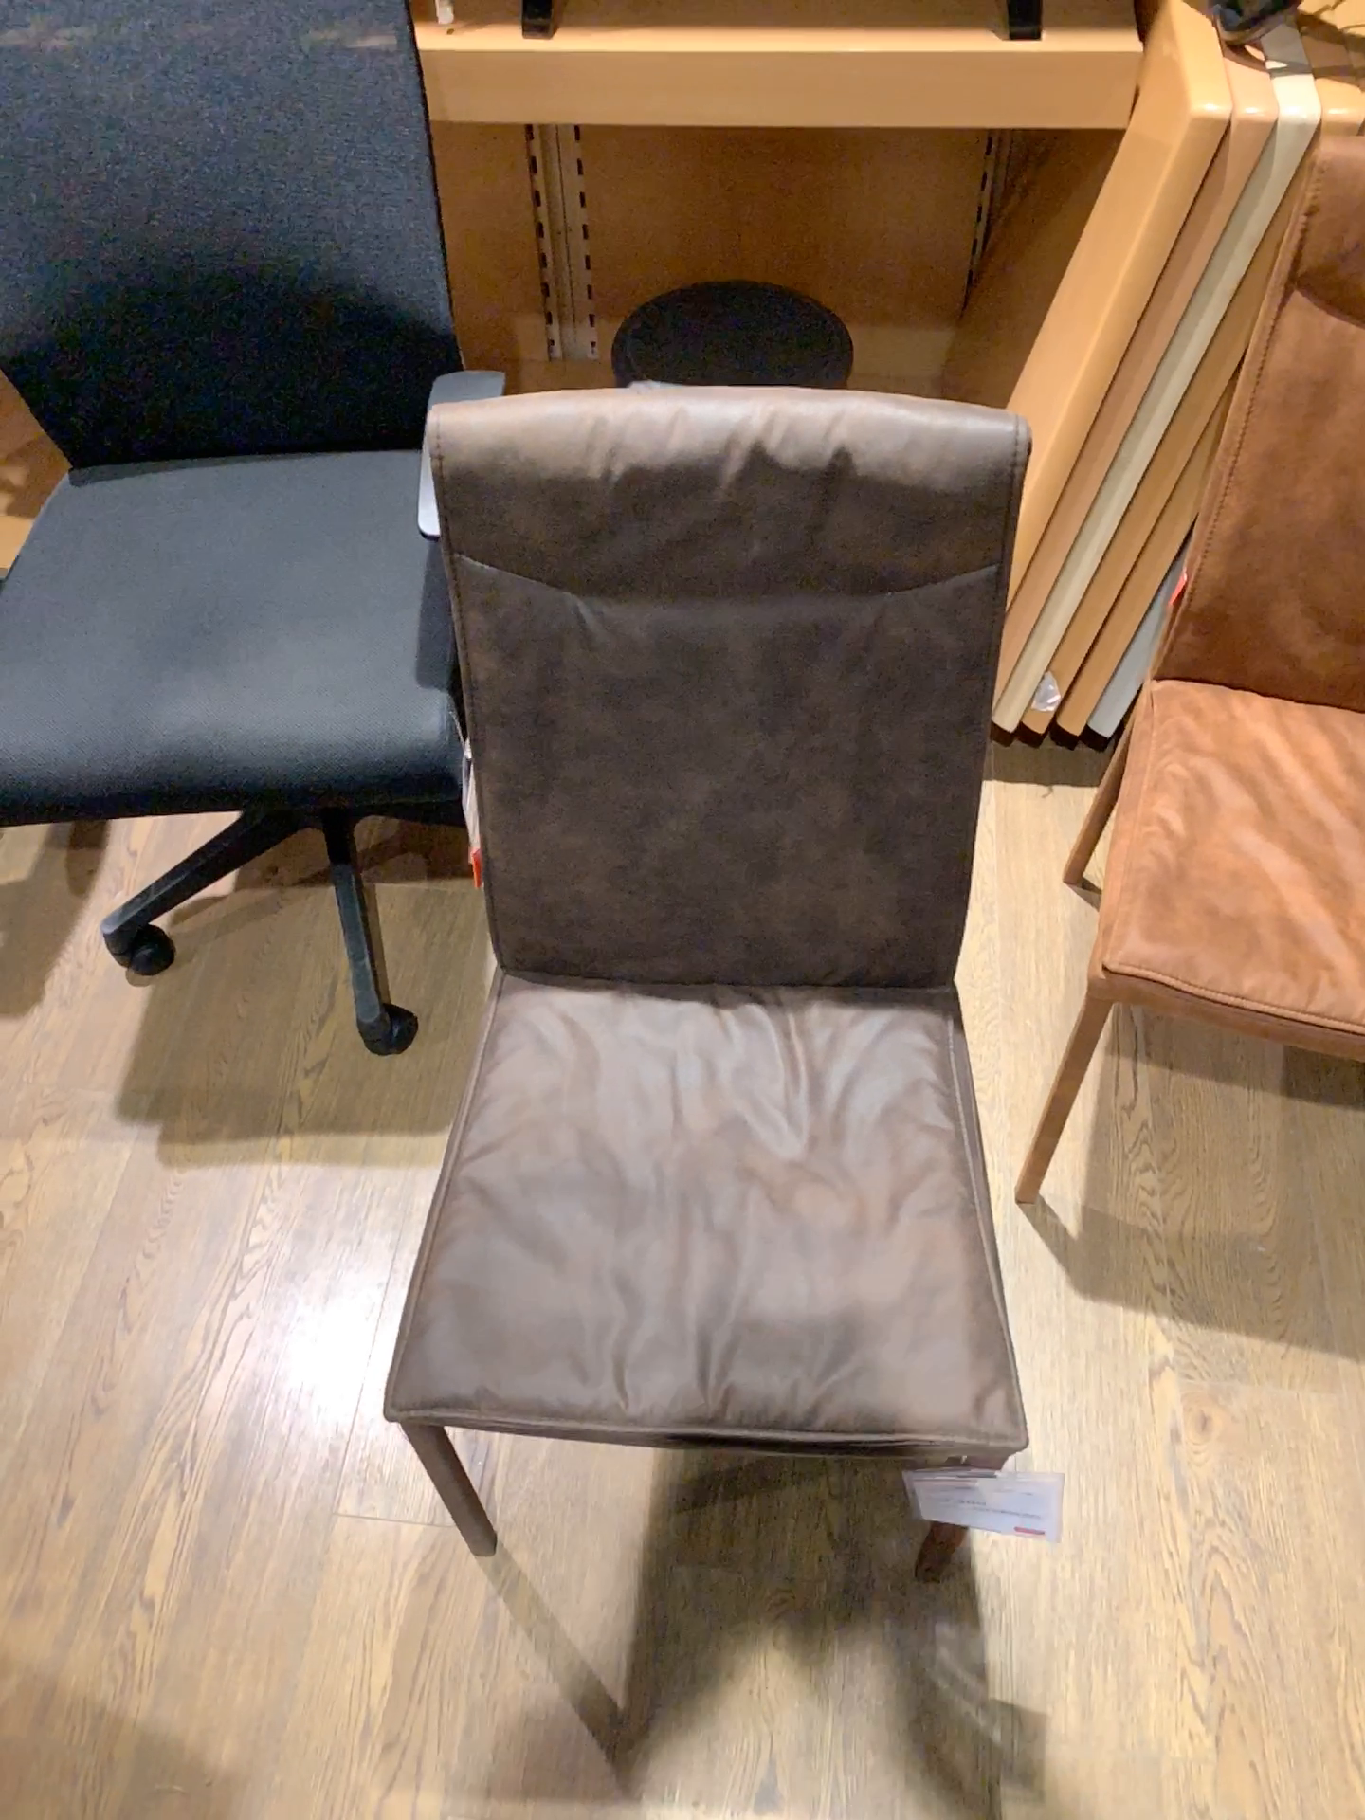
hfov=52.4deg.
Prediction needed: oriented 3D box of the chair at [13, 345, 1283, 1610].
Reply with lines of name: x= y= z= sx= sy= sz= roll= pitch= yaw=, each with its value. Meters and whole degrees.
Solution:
chair: x=0.011 y=0.138 z=1.062 sx=0.500 sy=0.908 sz=0.521 roll=3 pitch=53 yaw=4
